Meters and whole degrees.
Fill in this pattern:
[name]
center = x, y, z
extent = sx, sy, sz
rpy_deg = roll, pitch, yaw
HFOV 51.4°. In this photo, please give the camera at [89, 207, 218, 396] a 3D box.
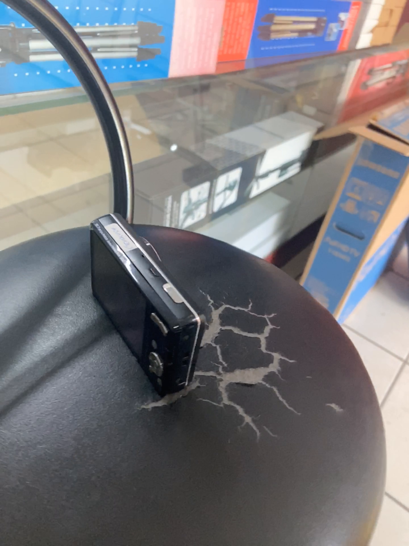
[camera]
center = -0.034, 0.012, 0.236
extent = 0.024, 0.051, 0.097
rpy_deg = -17, 46, -31
